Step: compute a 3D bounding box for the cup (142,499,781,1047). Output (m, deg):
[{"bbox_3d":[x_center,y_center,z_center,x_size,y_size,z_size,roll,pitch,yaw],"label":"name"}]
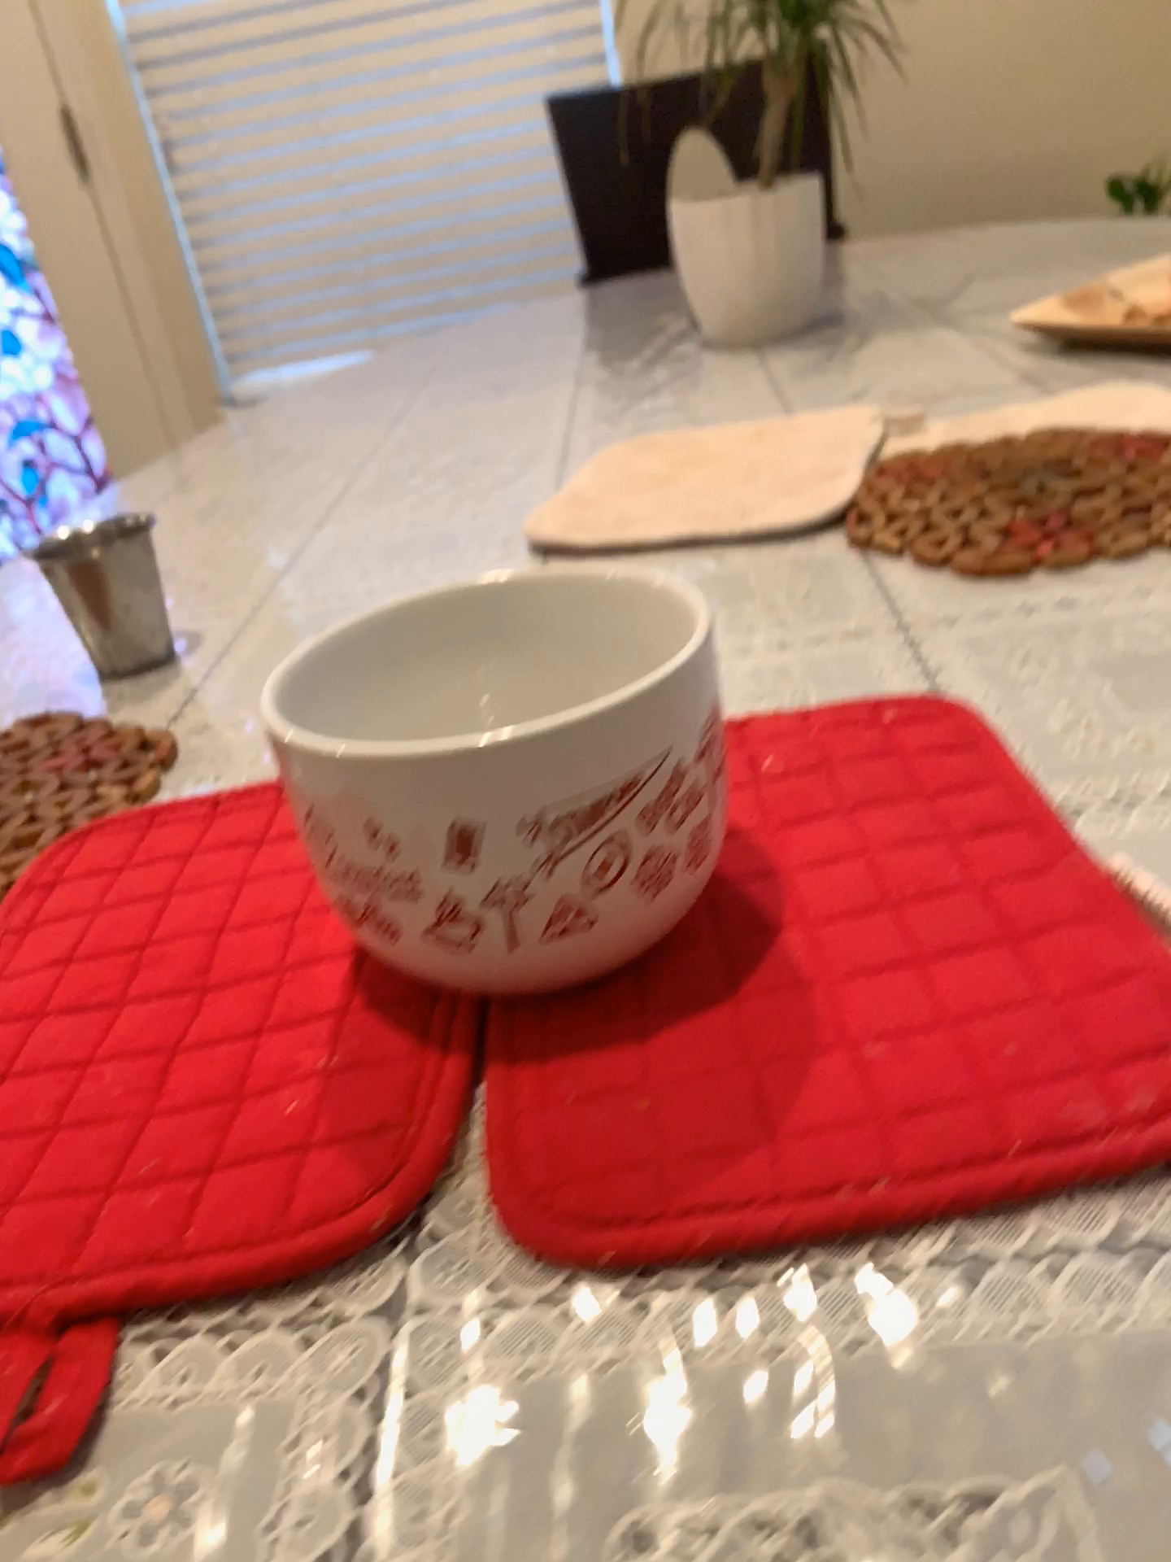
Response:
[{"bbox_3d":[-0.017,-0.009,0.324,0.120,0.079,0.141,-3,29,15],"label":"cup"}]
